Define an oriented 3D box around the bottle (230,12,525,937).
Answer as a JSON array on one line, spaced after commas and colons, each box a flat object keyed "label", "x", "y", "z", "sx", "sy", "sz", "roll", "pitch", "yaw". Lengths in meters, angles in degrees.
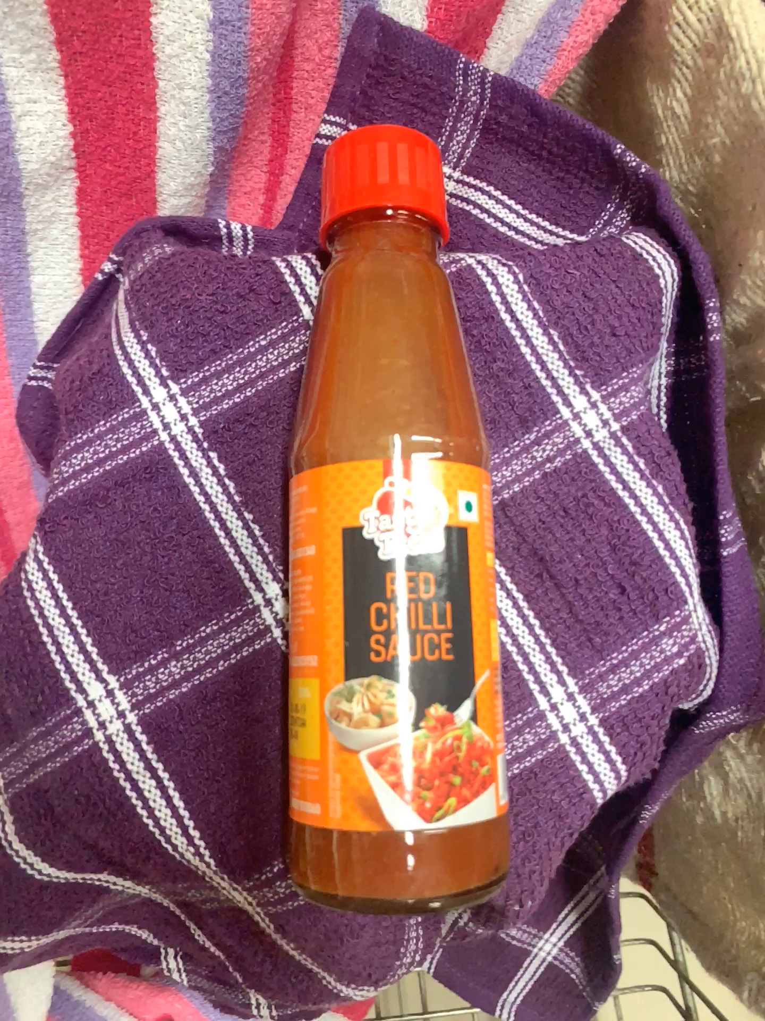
[{"label": "bottle", "x": -0.004, "y": -0.012, "z": 0.173, "sx": 0.050, "sy": 0.040, "sz": 0.180, "roll": -2, "pitch": 82, "yaw": -2}]
